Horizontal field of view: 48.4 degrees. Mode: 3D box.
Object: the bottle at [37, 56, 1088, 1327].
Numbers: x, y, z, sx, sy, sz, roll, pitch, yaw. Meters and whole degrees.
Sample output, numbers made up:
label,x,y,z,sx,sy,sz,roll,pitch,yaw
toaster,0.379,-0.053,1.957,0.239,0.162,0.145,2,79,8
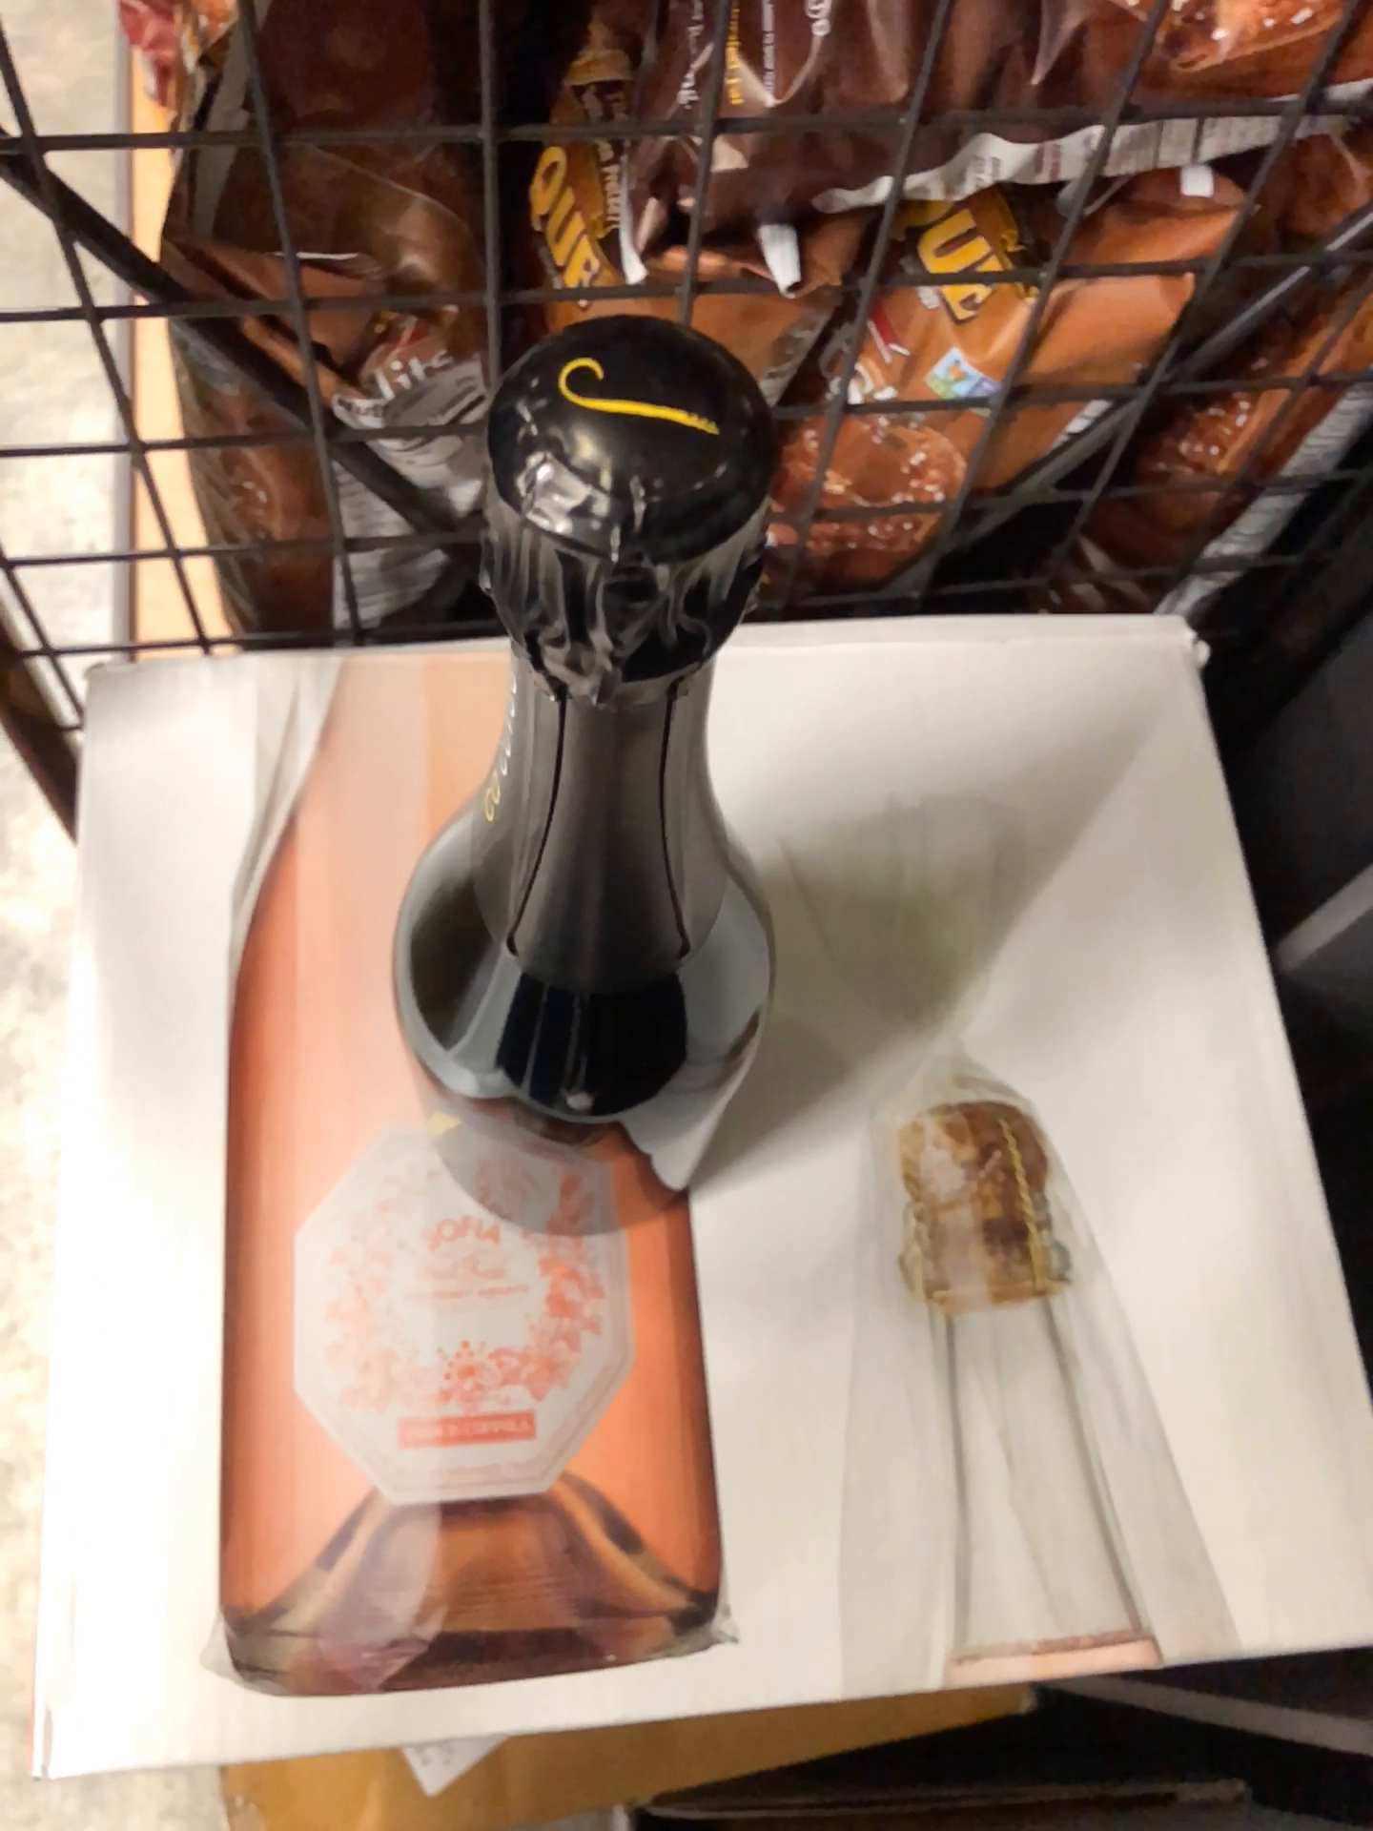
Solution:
label,x,y,z,sx,sy,sz,roll,pitch,yaw
bottle,-0.030,0.000,0.301,0.090,0.290,0.090,2,67,-5
